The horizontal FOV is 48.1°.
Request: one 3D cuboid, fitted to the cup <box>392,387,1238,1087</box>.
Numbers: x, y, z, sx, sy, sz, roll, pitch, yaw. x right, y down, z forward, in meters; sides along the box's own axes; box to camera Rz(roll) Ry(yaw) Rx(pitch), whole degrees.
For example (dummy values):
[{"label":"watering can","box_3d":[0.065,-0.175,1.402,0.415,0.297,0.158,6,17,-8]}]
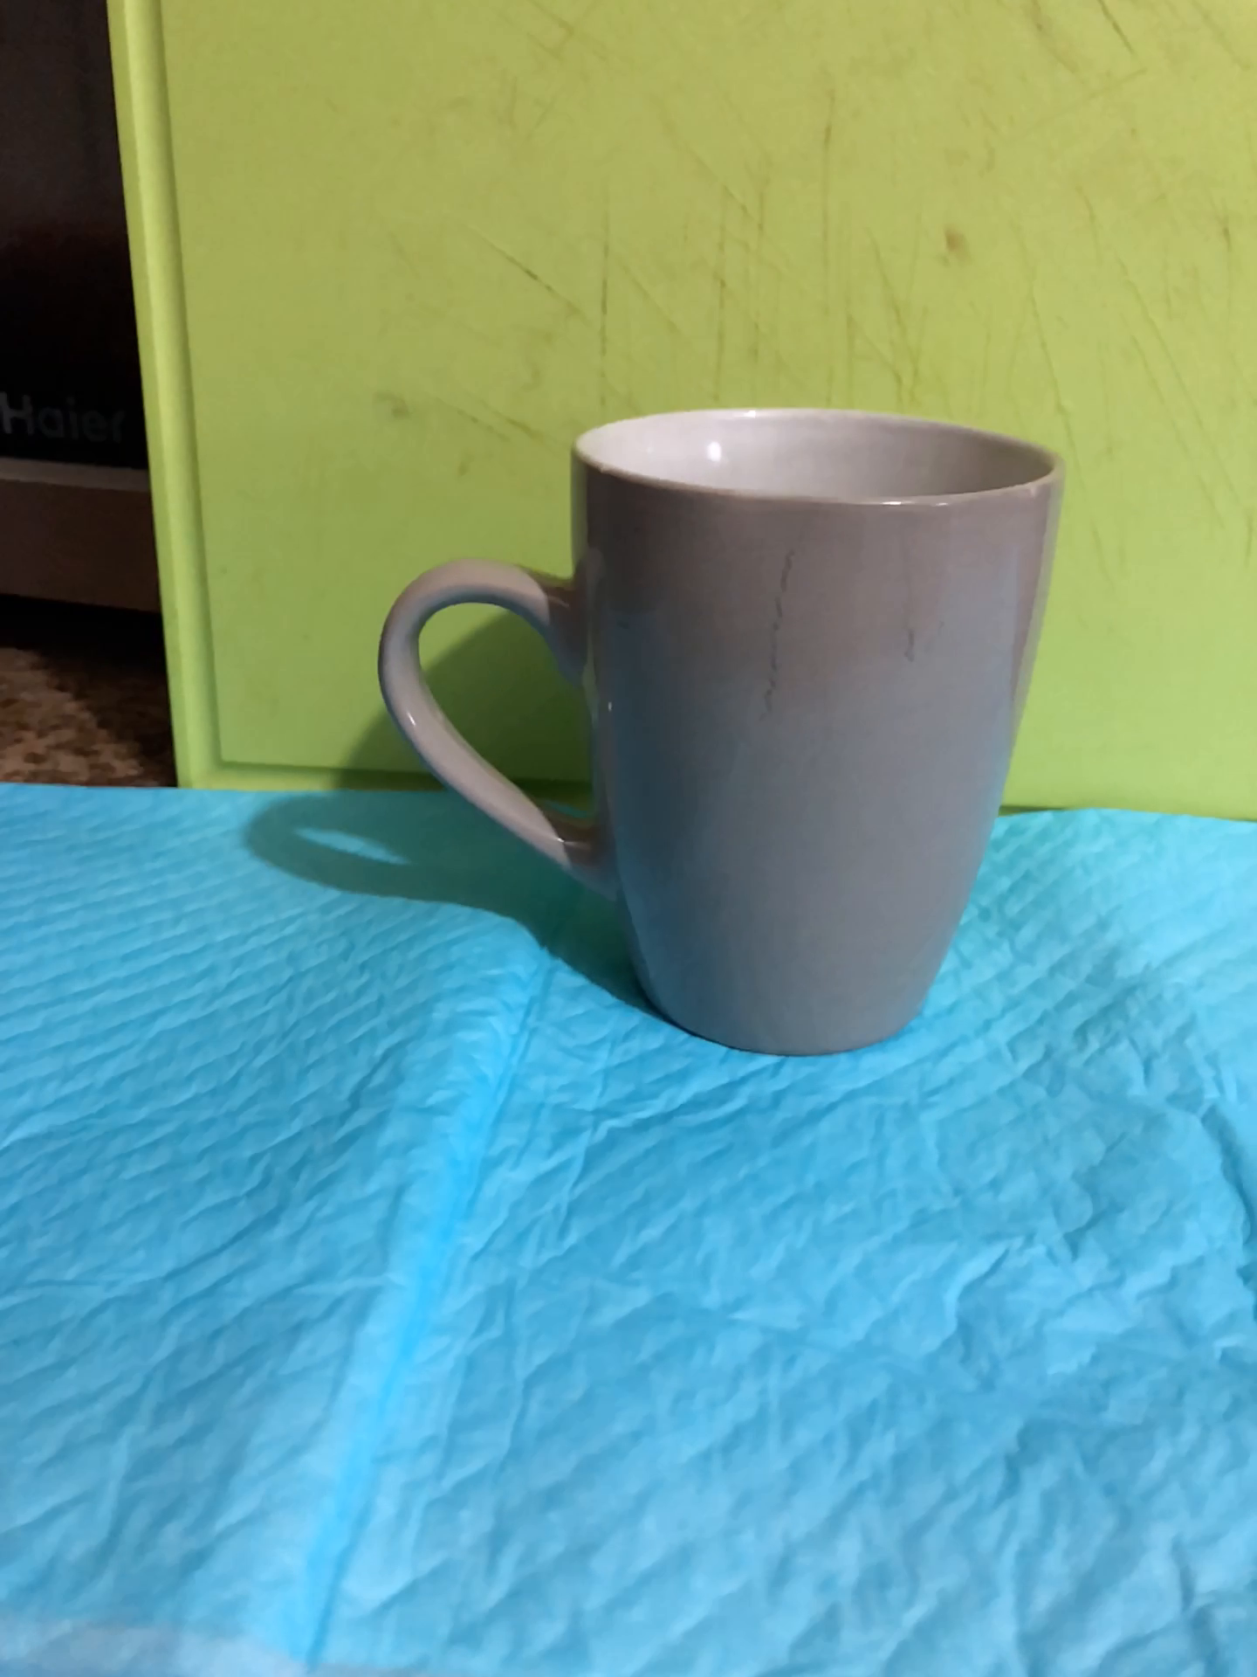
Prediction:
[{"label":"cup","box_3d":[0.020,-0.022,0.229,0.110,0.090,0.070,-3,25,-11]}]
